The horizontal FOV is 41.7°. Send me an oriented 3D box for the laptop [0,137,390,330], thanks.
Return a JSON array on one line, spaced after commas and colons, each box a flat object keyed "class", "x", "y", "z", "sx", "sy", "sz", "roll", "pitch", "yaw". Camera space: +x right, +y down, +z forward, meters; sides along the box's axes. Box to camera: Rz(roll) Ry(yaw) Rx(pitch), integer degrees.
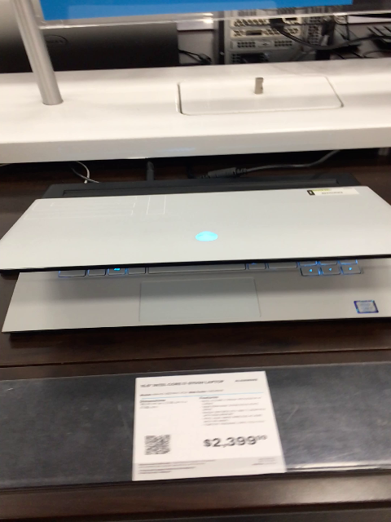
[{"class": "laptop", "x": 0.015, "y": -0.035, "z": 0.525, "sx": 0.381, "sy": 0.086, "sz": 0.200, "roll": -3, "pitch": 42, "yaw": 2}]
